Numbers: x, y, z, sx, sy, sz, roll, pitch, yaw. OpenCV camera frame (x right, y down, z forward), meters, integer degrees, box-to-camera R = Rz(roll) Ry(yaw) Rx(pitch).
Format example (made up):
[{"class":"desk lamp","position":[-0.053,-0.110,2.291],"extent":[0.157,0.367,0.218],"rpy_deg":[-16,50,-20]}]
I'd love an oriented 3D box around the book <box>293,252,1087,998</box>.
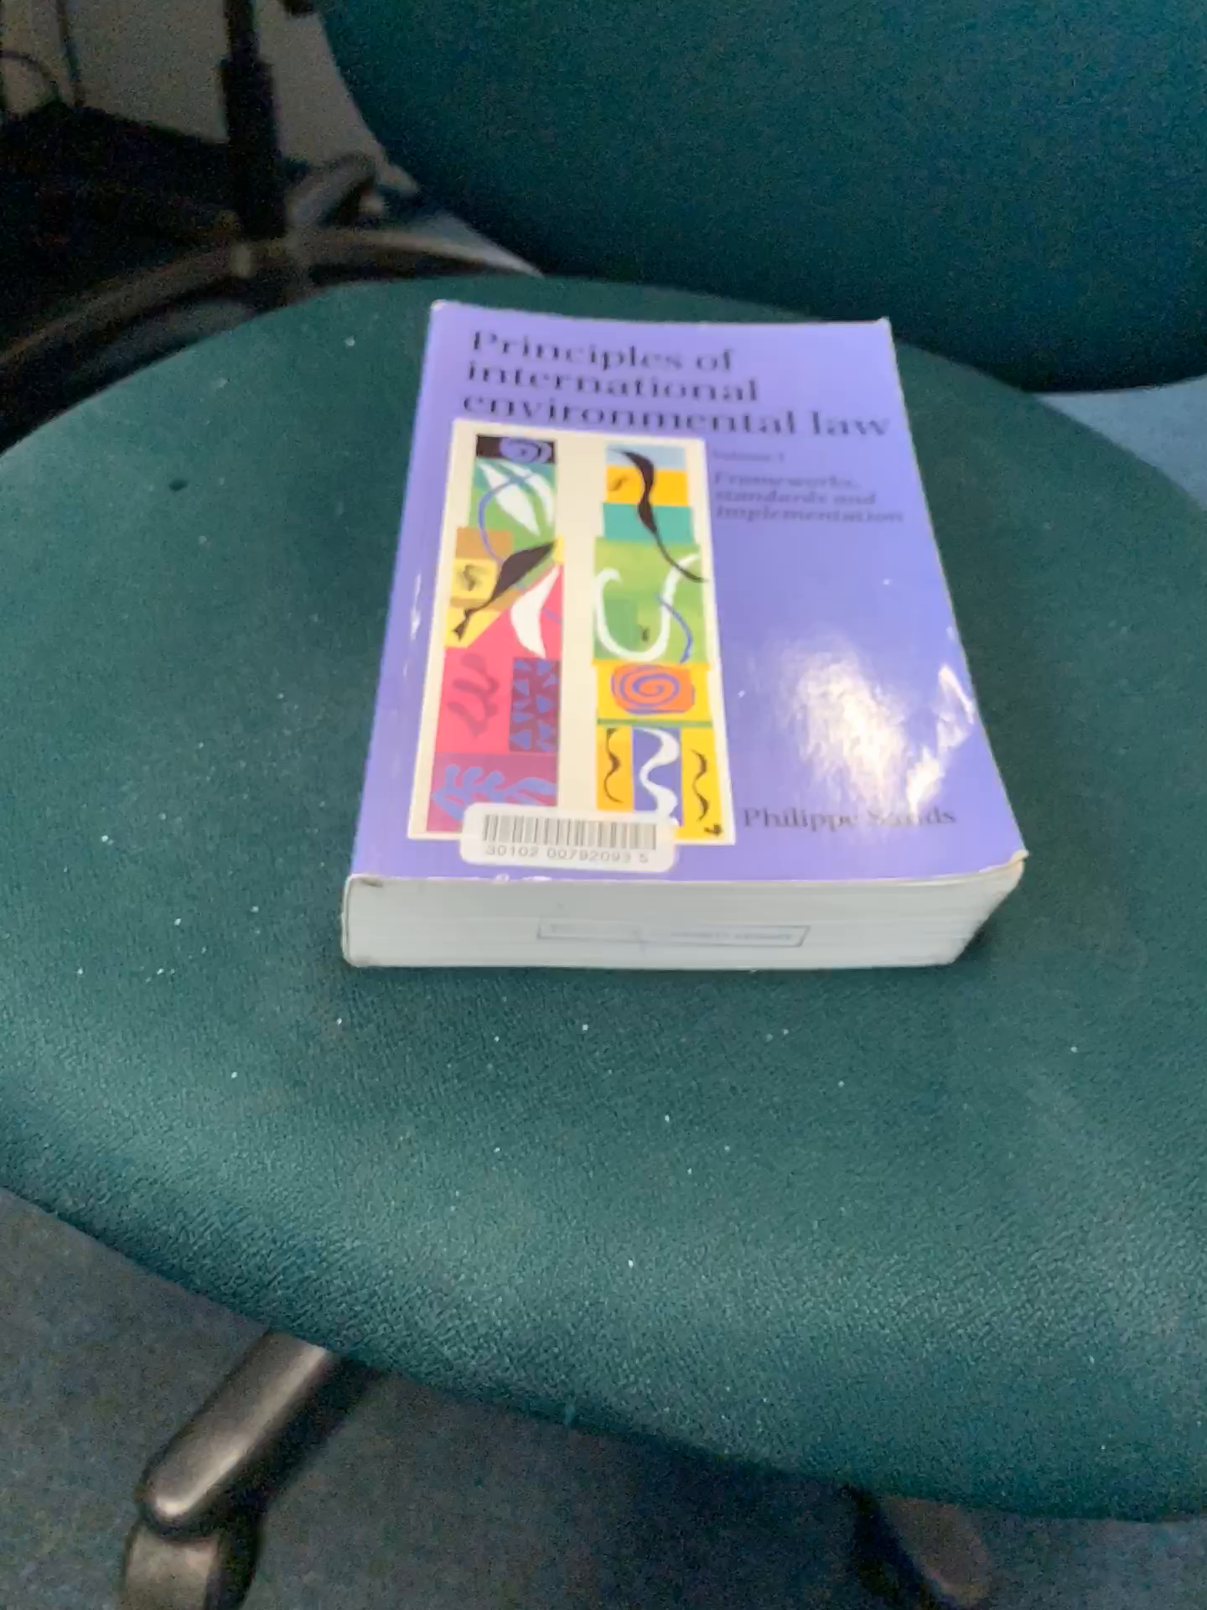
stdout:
[{"class":"book","position":[0.017,-0.074,0.388],"extent":[0.180,0.050,0.272],"rpy_deg":[2,51,-4]}]
